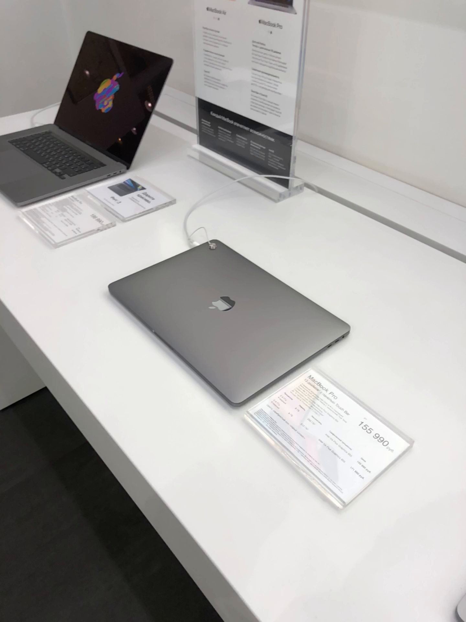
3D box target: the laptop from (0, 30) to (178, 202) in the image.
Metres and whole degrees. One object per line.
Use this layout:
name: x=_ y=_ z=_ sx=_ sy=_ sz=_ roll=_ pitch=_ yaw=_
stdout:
laptop: x=-0.382 y=-0.447 z=1.113 sx=0.380 sy=0.190 sz=0.349 roll=-29 pitch=47 yaw=-30

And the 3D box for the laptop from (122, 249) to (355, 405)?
laptop: x=-0.001 y=0.002 z=0.728 sx=0.202 sy=0.001 sz=0.280 roll=-27 pitch=45 yaw=-29
